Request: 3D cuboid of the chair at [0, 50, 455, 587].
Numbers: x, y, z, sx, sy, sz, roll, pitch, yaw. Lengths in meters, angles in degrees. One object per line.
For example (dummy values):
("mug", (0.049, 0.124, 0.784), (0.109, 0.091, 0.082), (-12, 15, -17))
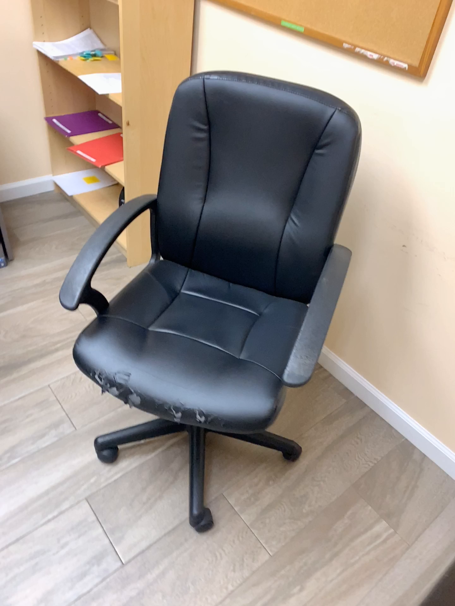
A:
("chair", (-0.006, 0.050, 1.138), (0.683, 0.986, 0.648), (18, 42, 11))
